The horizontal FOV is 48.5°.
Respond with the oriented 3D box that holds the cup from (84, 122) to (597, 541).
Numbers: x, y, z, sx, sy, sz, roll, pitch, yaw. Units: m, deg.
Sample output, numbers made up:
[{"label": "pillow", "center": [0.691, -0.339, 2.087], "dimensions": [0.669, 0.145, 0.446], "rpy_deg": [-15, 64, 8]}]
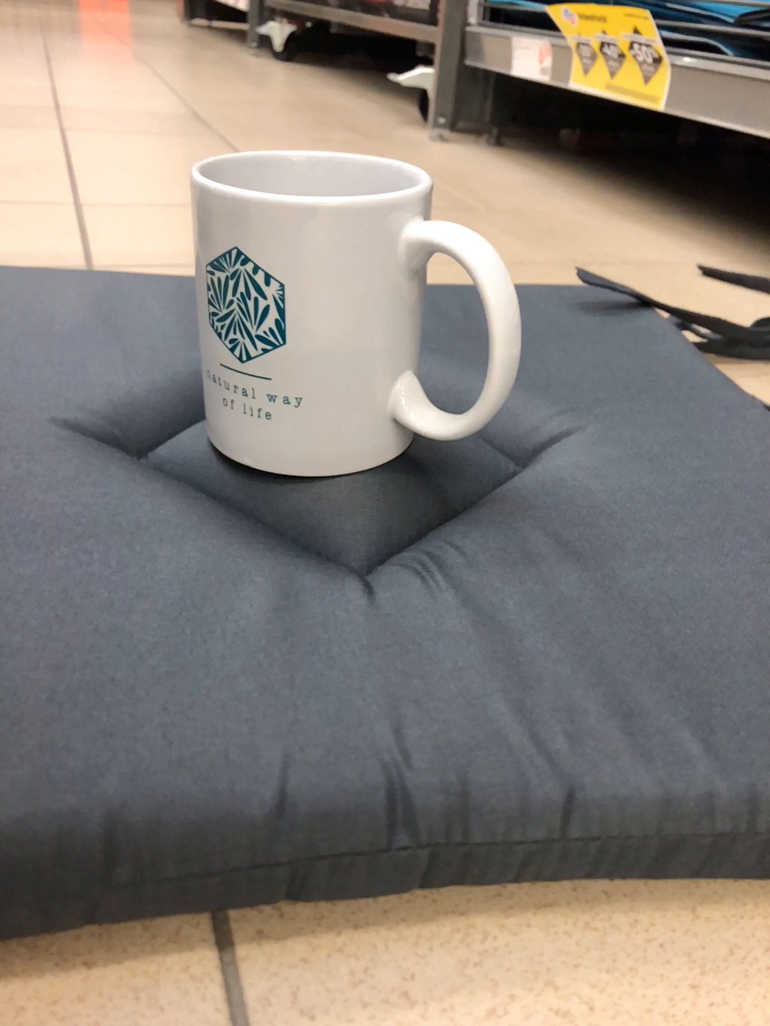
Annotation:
[{"label": "cup", "center": [-0.016, -0.071, 0.286], "dimensions": [0.130, 0.089, 0.091], "rpy_deg": [23, 35, 27]}]
